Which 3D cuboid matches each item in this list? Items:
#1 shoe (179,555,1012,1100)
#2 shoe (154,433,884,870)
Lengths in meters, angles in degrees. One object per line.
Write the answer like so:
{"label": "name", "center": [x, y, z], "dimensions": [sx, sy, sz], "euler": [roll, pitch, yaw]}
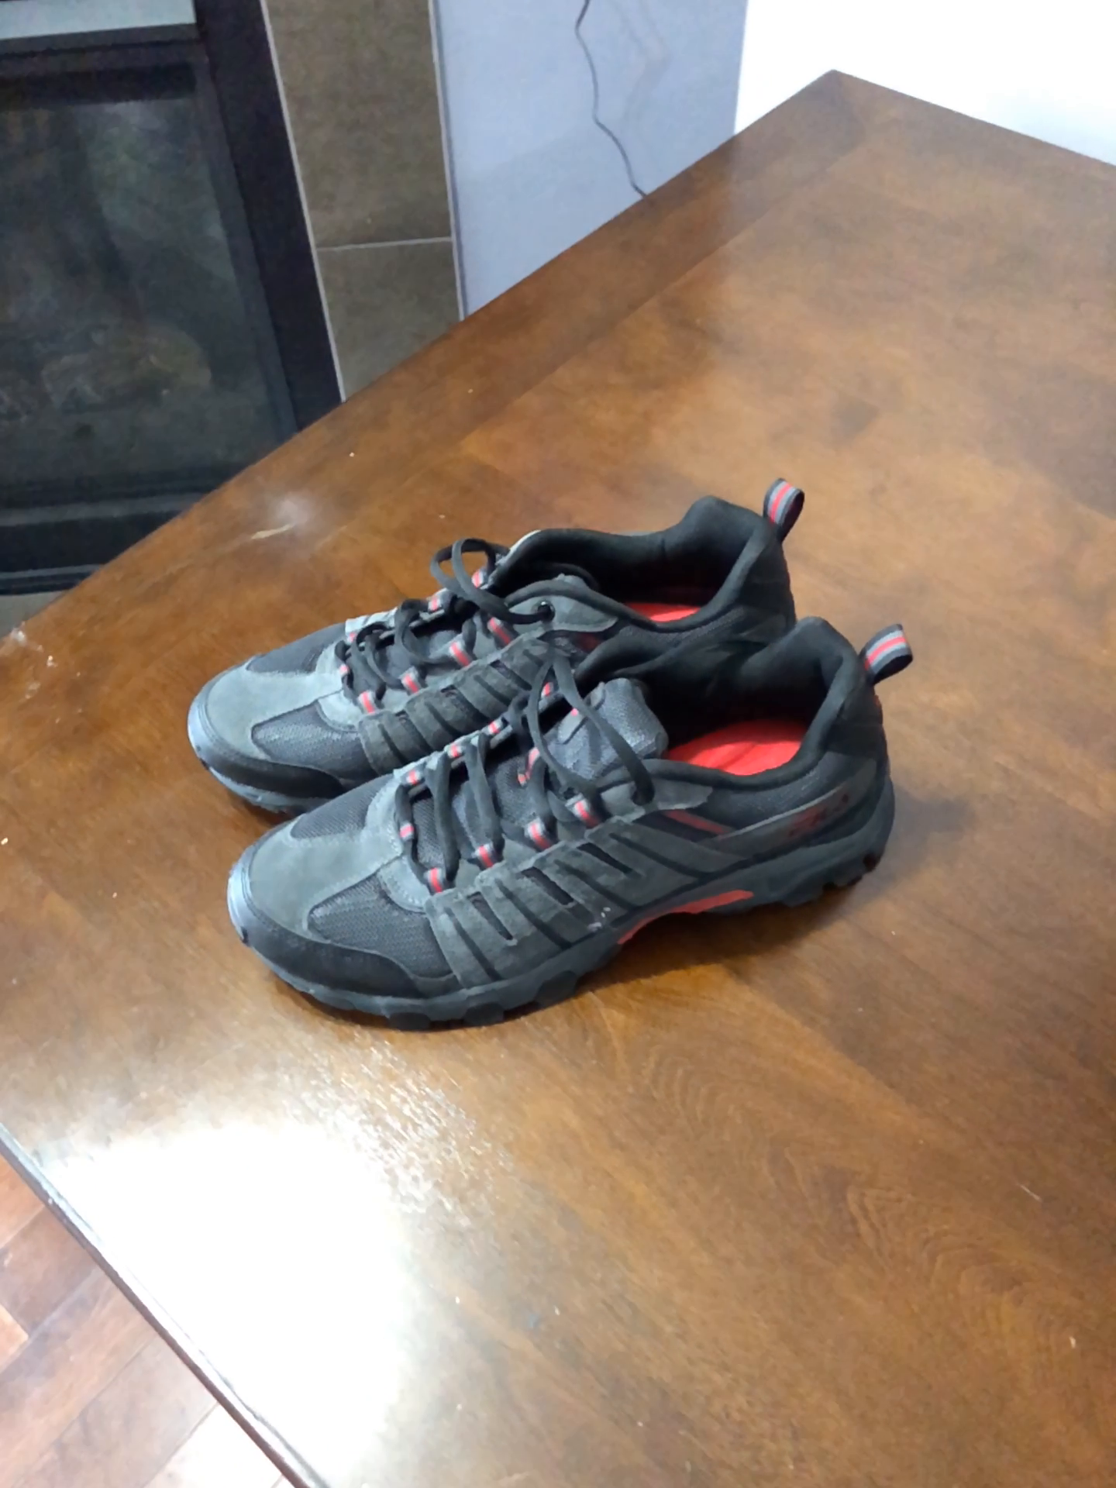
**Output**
{"label": "shoe", "center": [0.012, 0.031, 0.518], "dimensions": [0.300, 0.100, 0.120], "euler": [-15, 54, -9]}
{"label": "shoe", "center": [-0.022, -0.045, 0.575], "dimensions": [0.300, 0.100, 0.120], "euler": [-10, 54, -6]}
